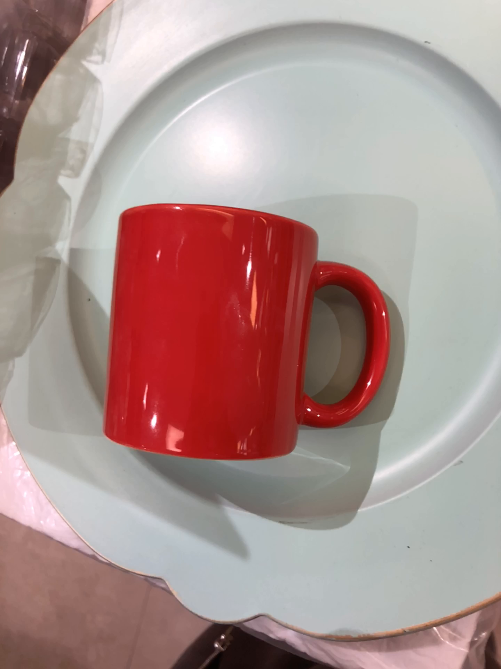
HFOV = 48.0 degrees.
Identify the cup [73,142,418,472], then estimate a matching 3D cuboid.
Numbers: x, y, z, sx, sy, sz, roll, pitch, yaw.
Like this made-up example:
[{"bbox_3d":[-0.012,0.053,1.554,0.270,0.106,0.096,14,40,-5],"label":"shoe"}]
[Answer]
[{"bbox_3d":[-0.004,-0.005,0.215,0.110,0.060,0.100,0,88,-12],"label":"cup"}]
